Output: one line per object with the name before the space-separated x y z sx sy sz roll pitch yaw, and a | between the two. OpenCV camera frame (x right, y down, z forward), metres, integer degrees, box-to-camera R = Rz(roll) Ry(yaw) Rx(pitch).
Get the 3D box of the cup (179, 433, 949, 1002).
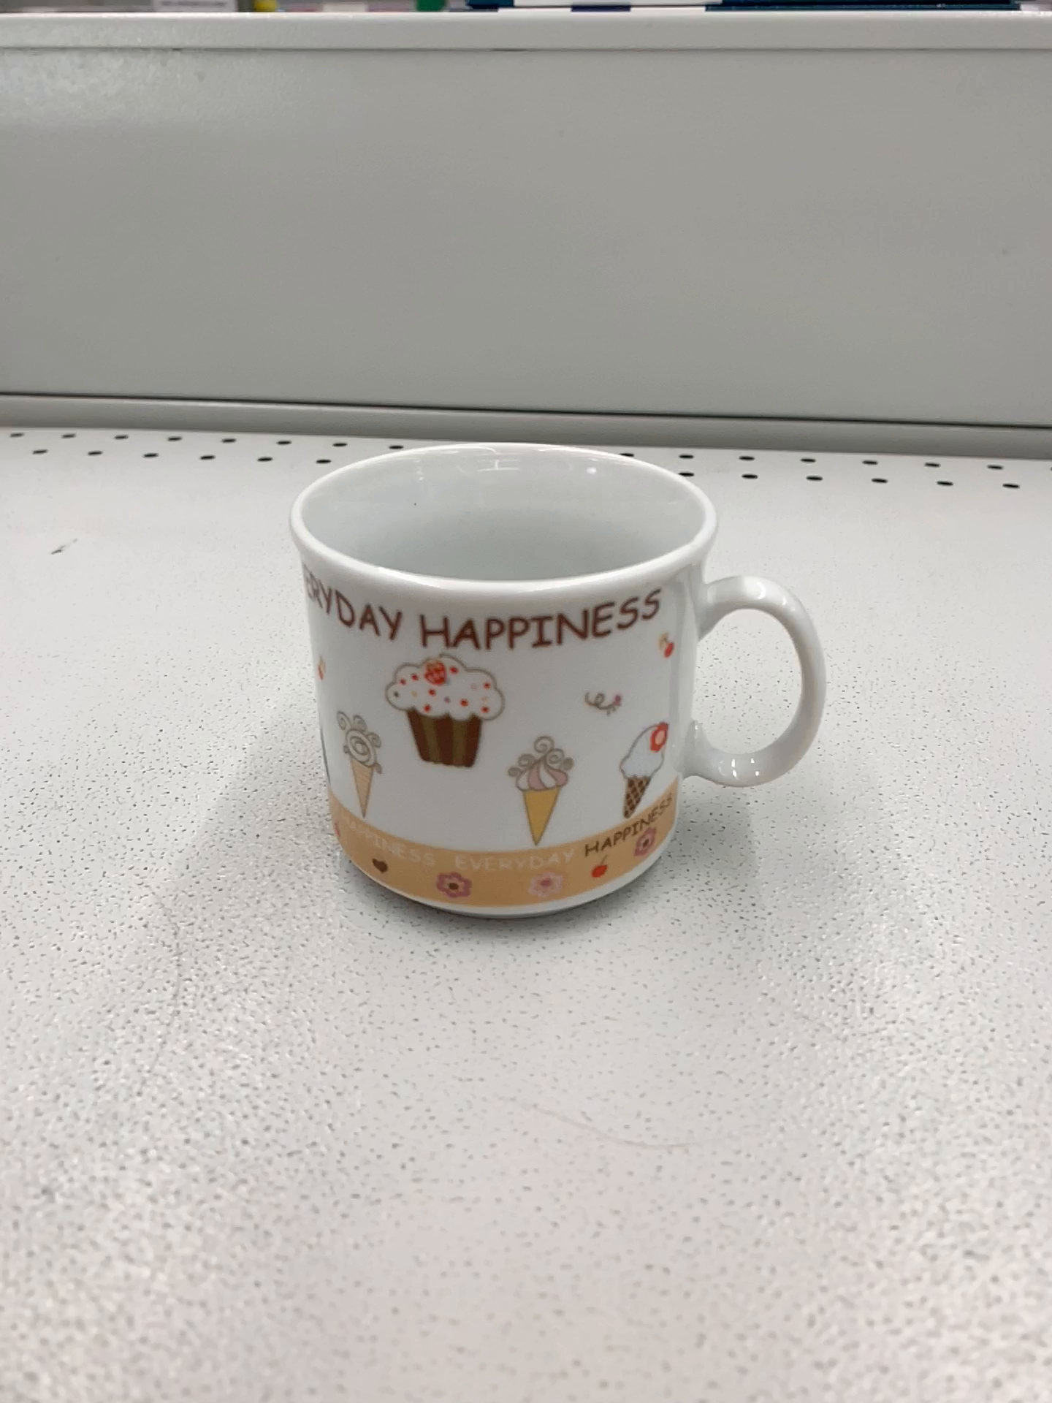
cup | 0.008 -0.003 0.203 0.108 0.069 0.079 4 29 7
